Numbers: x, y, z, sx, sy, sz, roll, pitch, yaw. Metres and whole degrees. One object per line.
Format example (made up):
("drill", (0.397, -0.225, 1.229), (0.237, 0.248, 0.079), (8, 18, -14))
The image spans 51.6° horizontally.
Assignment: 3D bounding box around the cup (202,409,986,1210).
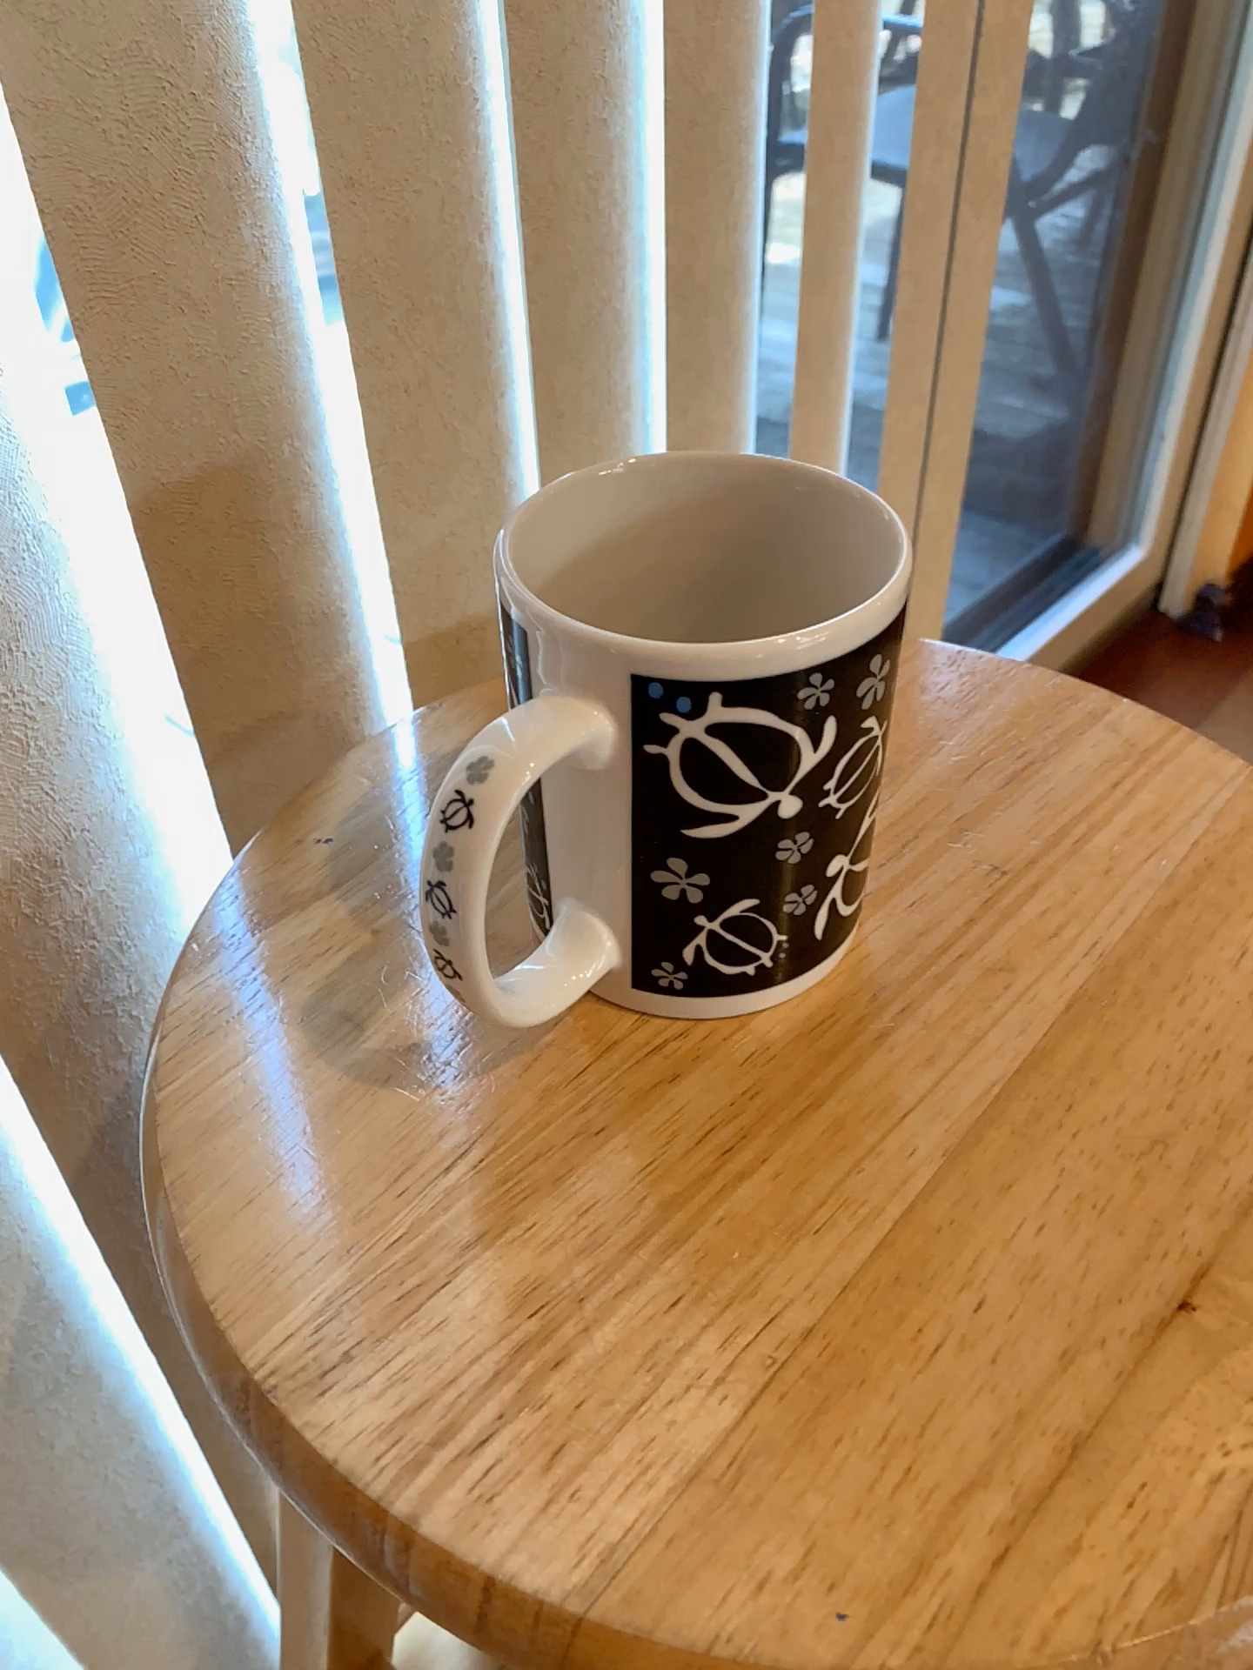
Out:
("cup", (-0.002, -0.013, 0.277), (0.090, 0.099, 0.120), (31, 50, 33))
